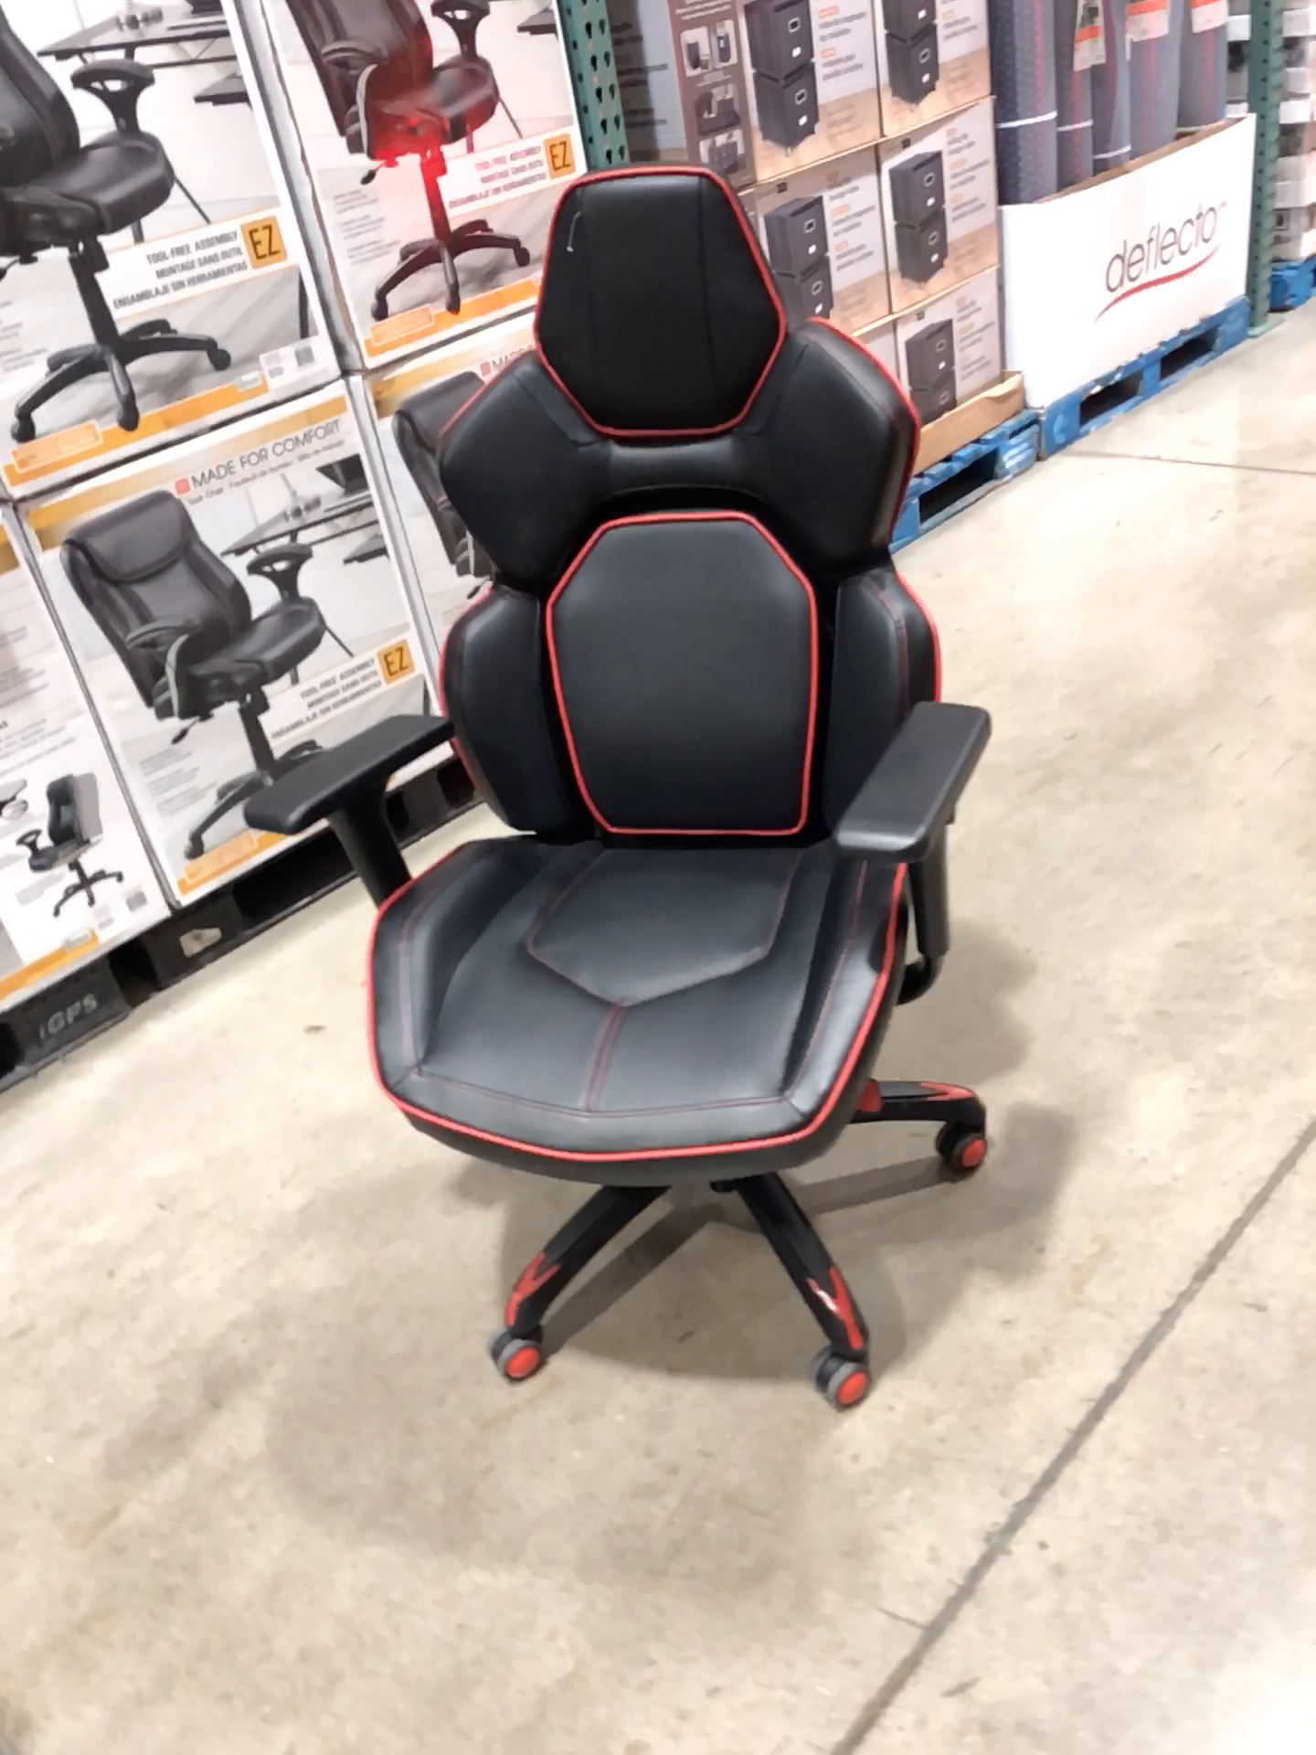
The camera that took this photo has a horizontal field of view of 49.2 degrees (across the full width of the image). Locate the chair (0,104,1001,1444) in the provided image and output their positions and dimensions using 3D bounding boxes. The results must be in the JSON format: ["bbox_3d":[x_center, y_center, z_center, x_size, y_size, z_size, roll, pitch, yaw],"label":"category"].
[{"bbox_3d":[-0.027,-0.094,1.550,0.721,1.145,0.722,-1,33,15],"label":"chair"}]
